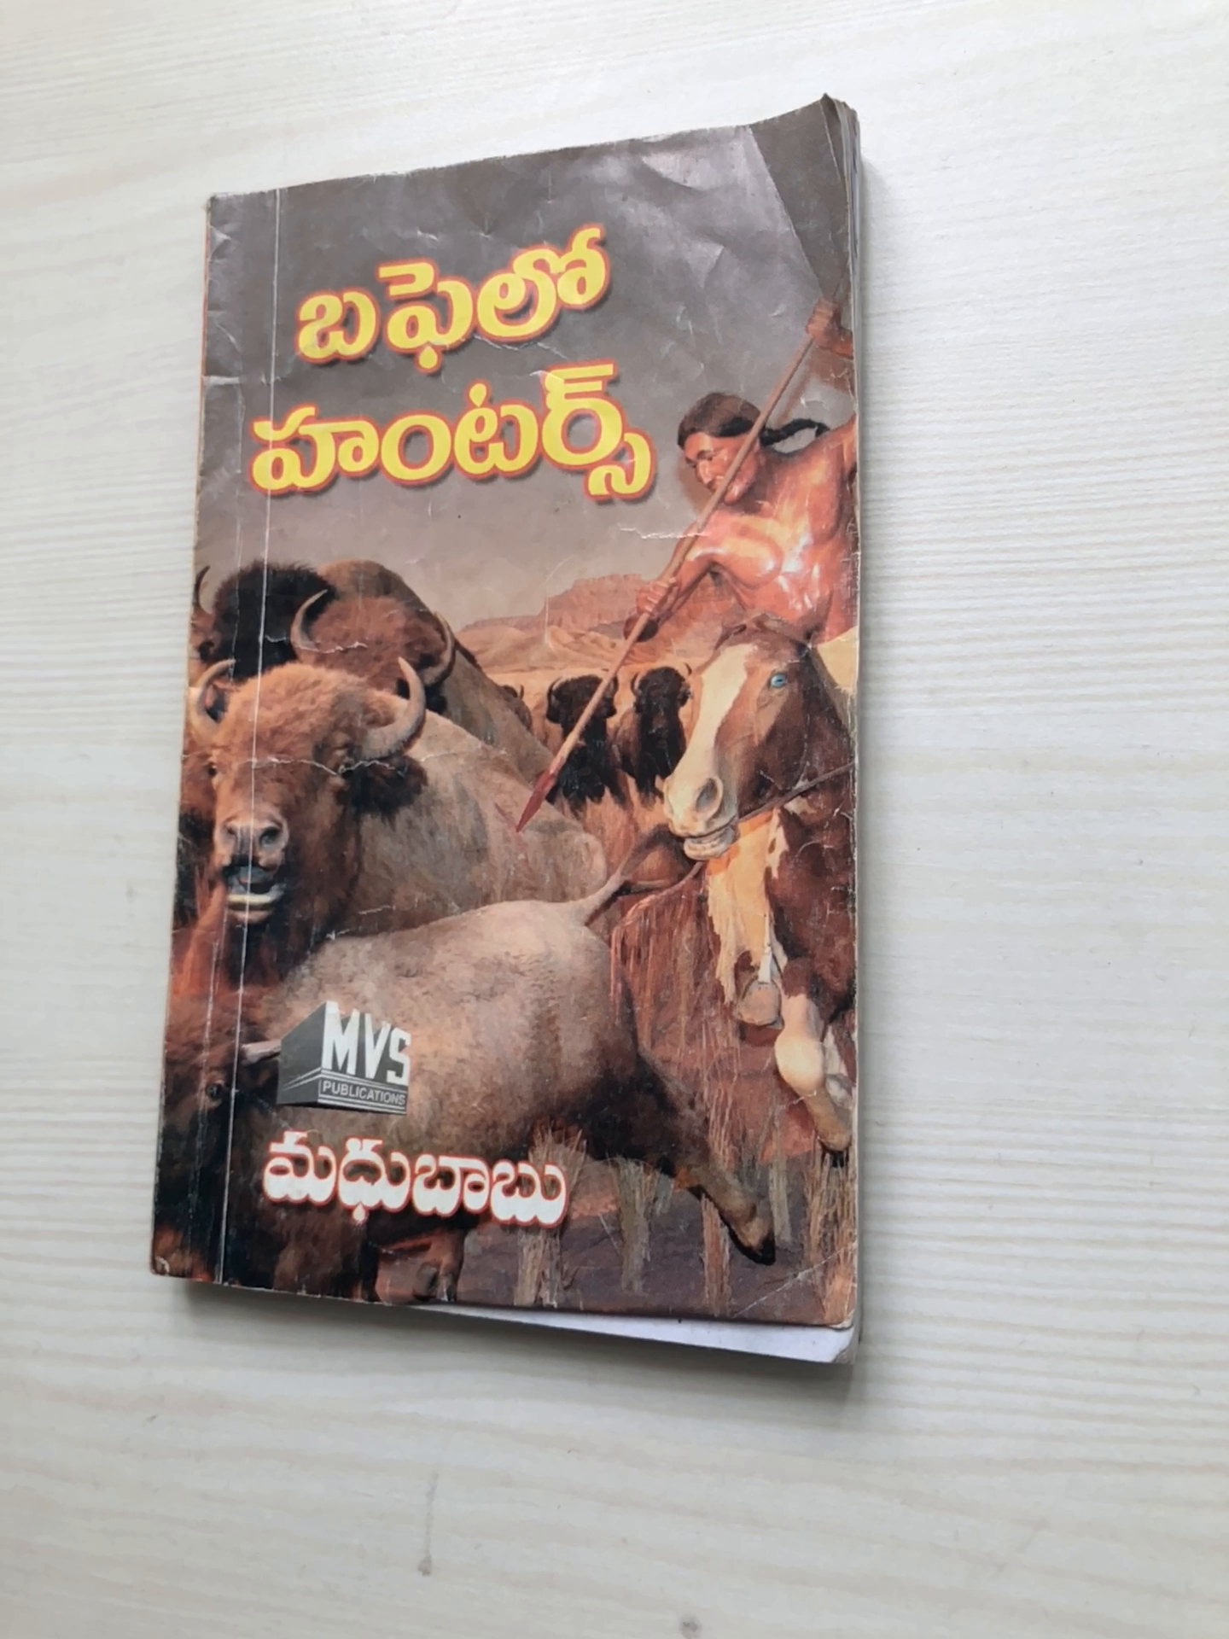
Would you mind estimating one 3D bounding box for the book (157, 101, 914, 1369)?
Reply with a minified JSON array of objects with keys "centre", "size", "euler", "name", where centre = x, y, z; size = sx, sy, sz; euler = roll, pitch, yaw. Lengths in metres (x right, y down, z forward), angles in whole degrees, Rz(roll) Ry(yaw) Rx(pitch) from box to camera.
[{"centre":[-0.012,-0.010,0.186],"size":[0.100,0.020,0.150],"euler":[-1,88,17],"name":"book"}]
